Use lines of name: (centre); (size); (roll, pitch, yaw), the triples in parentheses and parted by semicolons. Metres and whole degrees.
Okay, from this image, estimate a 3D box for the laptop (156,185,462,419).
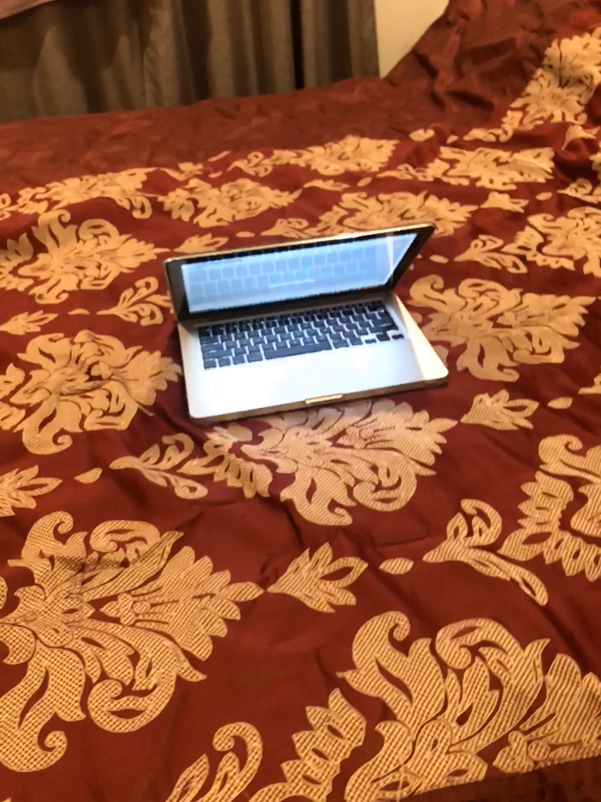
laptop: (0.002, -0.131, 0.813); (0.312, 0.156, 0.213); (-10, 38, -9)
